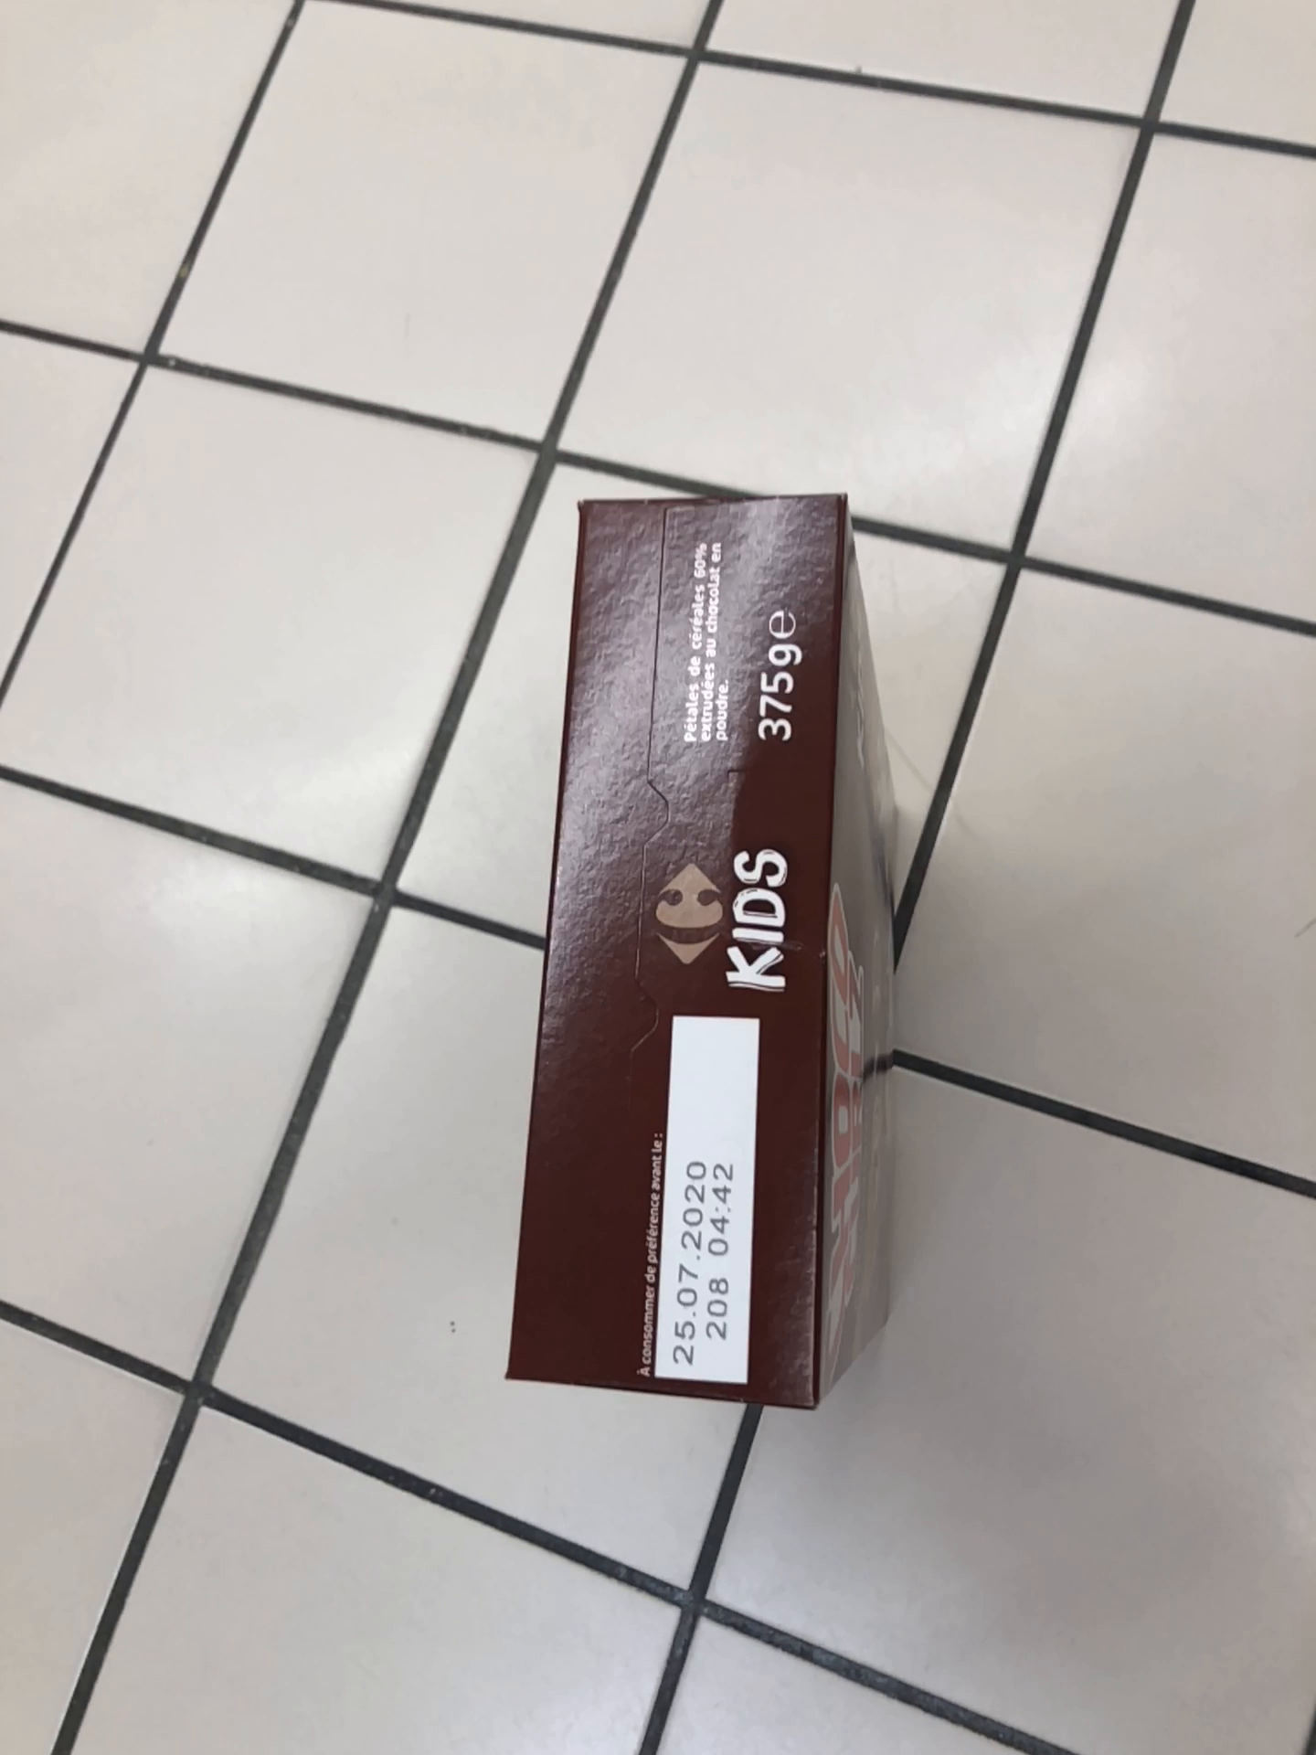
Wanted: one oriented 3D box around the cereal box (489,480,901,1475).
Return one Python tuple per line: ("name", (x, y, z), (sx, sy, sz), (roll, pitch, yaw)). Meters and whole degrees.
("cereal box", (0.031, 0.042, 0.420), (0.070, 0.260, 0.200), (1, 77, 10))
